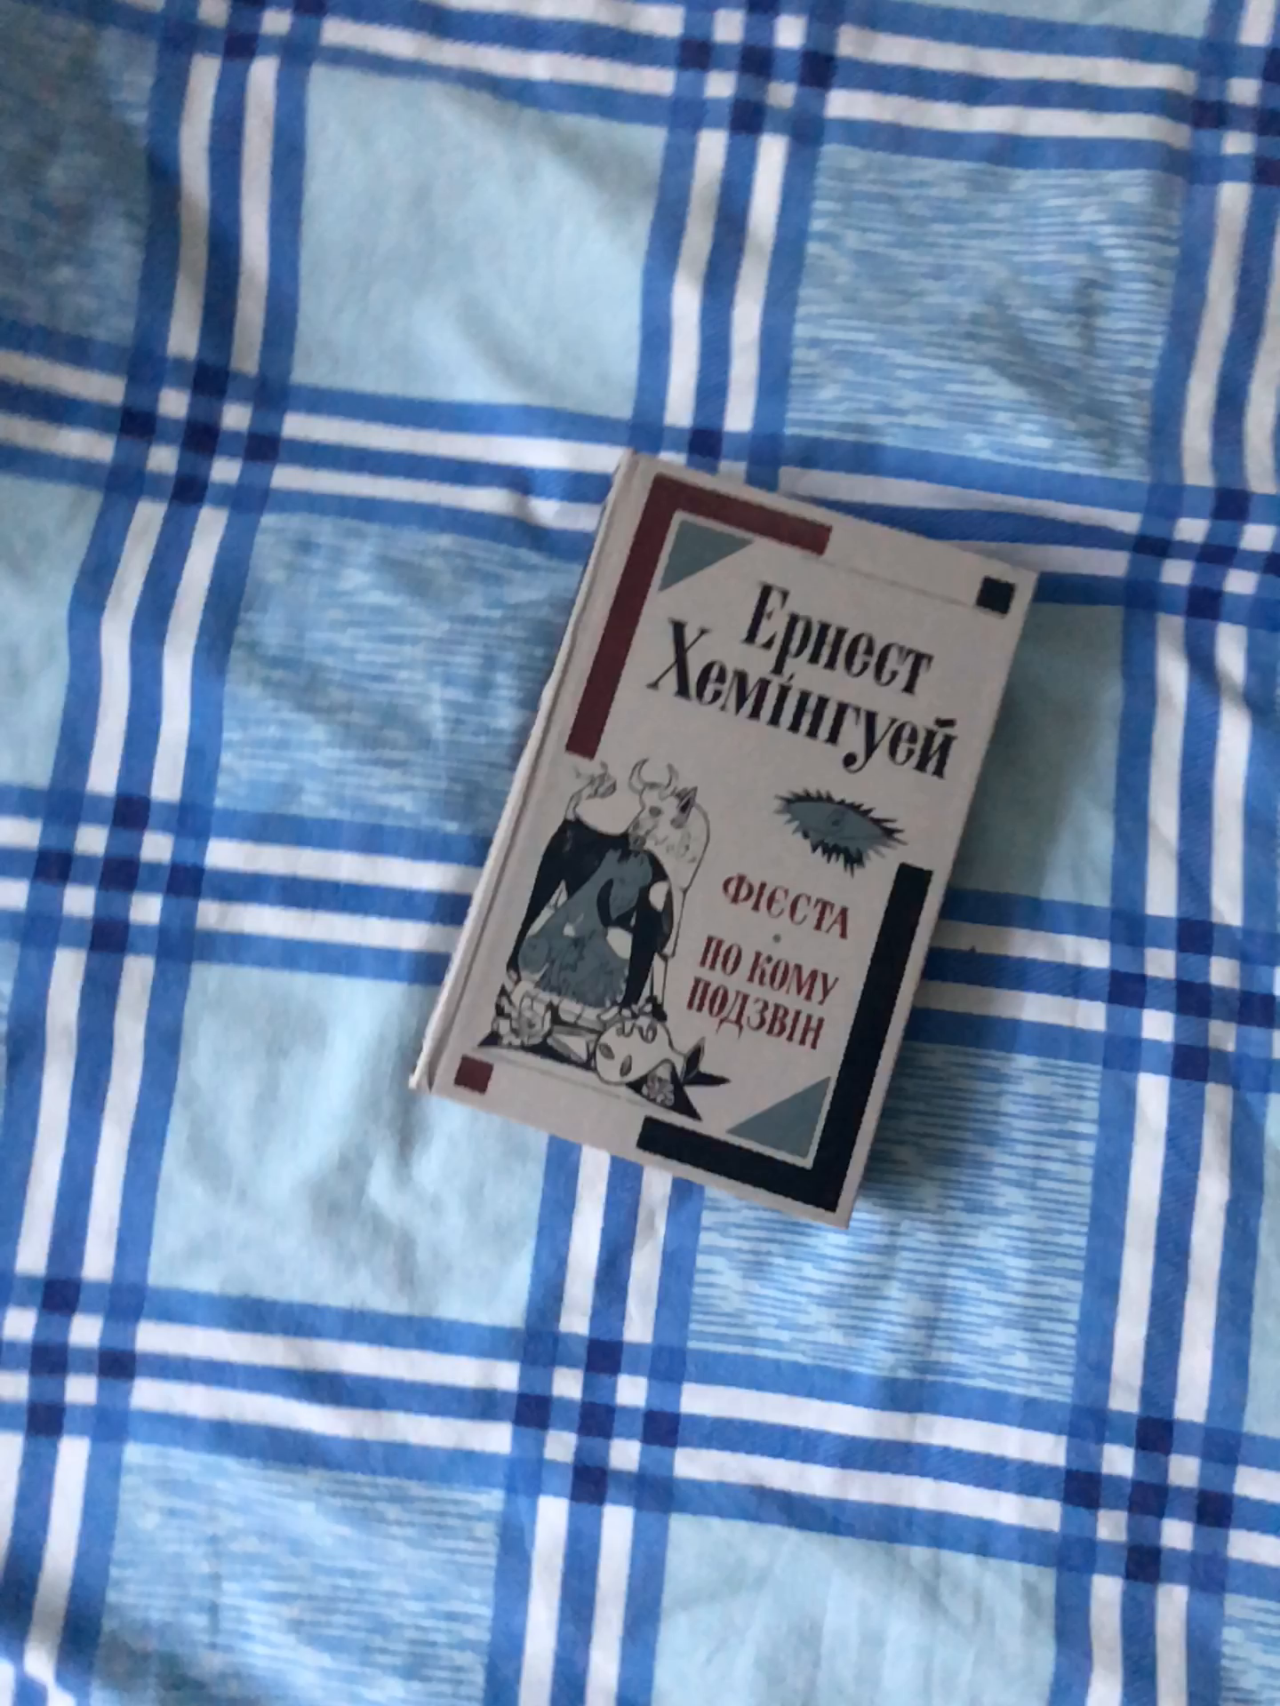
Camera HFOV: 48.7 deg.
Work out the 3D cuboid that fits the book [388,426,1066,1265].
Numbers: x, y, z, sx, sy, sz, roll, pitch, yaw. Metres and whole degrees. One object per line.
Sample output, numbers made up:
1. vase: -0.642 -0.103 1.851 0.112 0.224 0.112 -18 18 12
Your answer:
1. book: 0.029 -0.005 0.441 0.142 0.040 0.220 18 83 4
